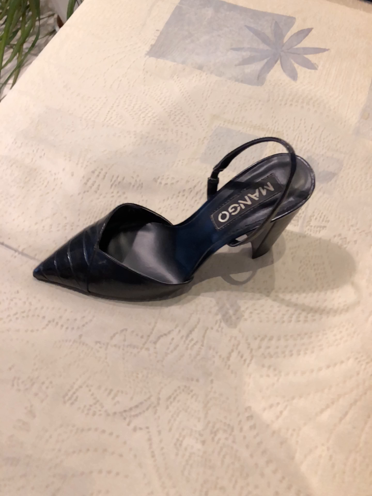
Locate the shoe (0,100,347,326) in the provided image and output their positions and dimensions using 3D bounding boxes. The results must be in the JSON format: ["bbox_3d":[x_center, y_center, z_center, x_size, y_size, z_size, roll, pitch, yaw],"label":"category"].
[{"bbox_3d":[-0.020,-0.024,0.344,0.240,0.129,0.100,-10,63,-8],"label":"shoe"}]
